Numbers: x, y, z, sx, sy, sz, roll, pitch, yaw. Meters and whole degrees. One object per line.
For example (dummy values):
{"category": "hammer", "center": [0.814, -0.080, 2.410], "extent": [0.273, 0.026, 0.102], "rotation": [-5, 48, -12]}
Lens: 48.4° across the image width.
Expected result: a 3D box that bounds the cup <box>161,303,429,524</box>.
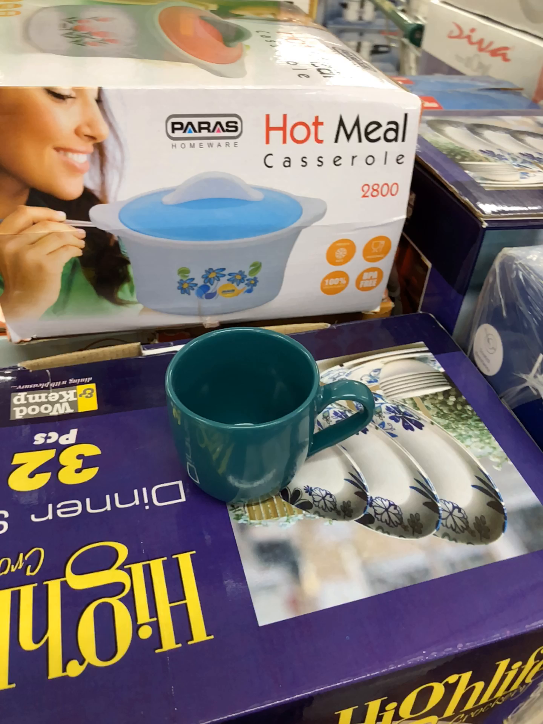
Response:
{"category": "cup", "center": [0.005, 0.018, 0.250], "extent": [0.090, 0.050, 0.060], "rotation": [-8, 41, -15]}
